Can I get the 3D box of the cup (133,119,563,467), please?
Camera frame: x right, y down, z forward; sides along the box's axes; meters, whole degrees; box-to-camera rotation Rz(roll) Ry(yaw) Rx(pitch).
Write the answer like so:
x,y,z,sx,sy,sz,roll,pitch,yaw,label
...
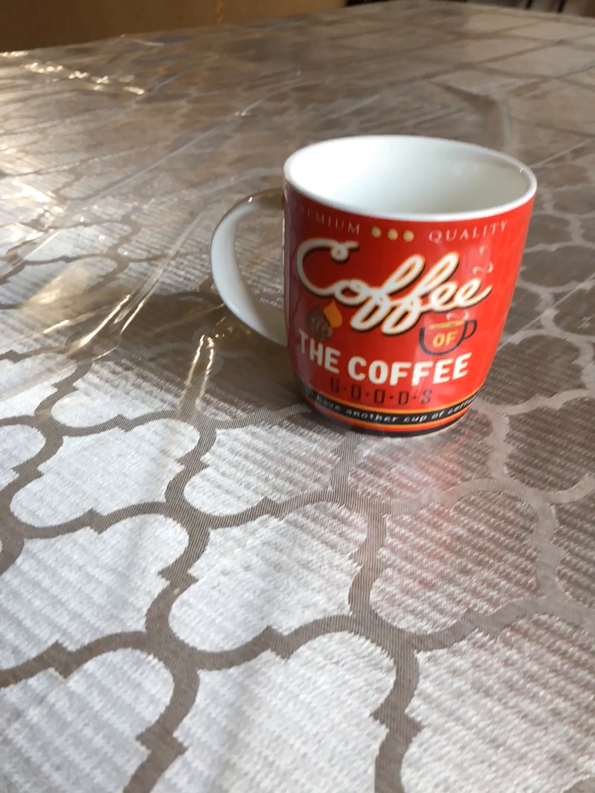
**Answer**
x,y,z,sx,sy,sz,roll,pitch,yaw,label
0.025,-0.051,0.268,0.130,0.080,0.121,1,36,0,cup
